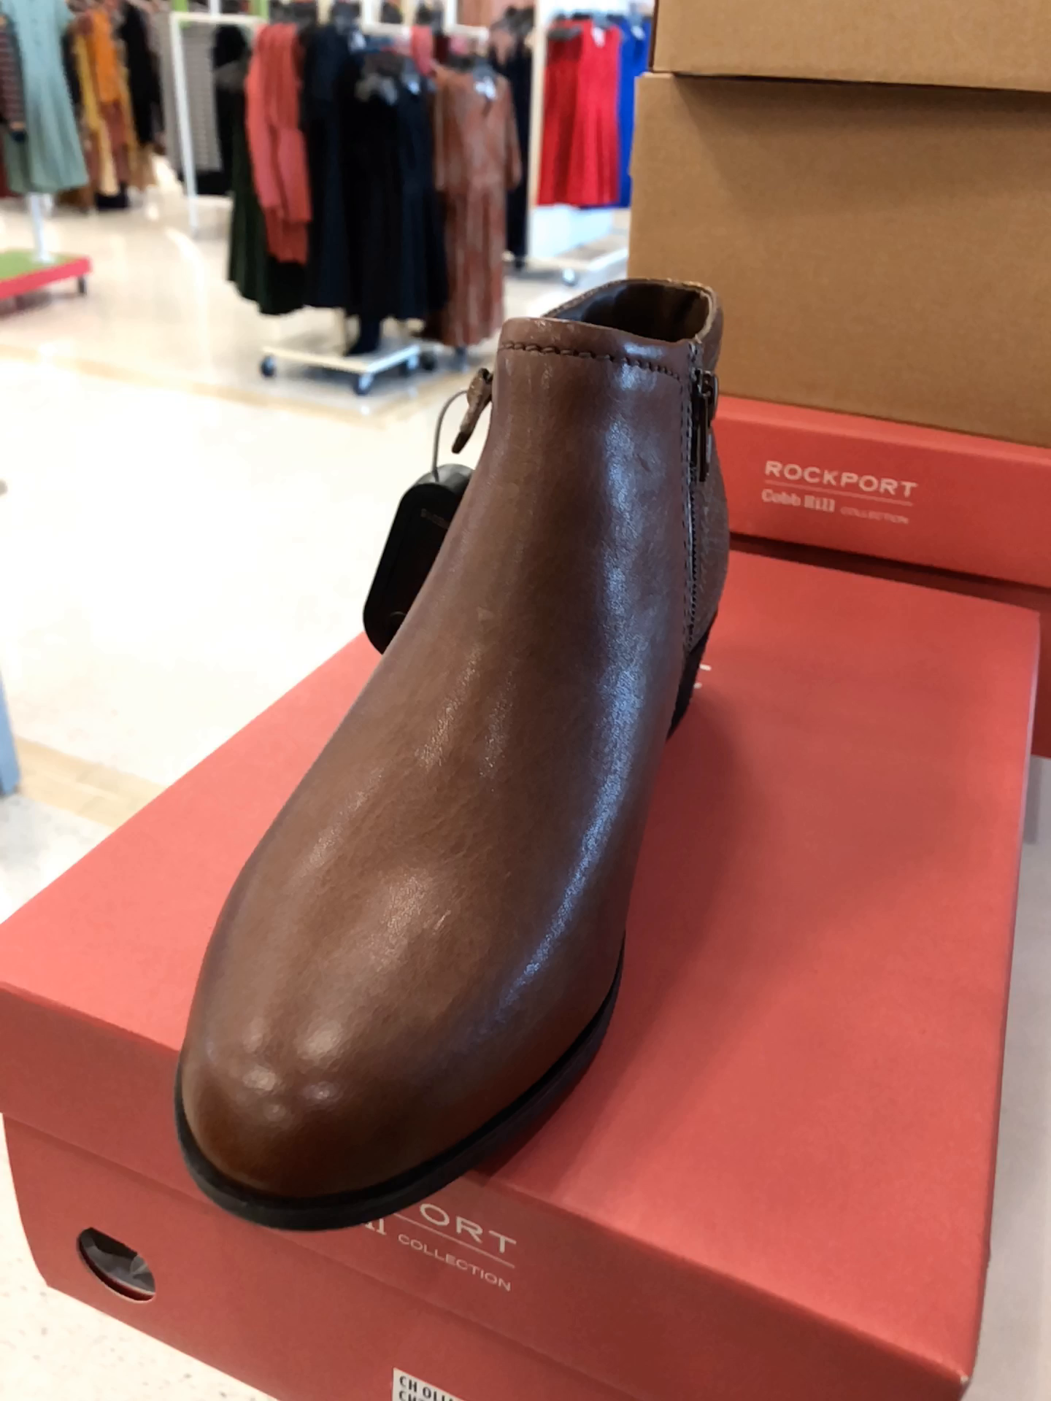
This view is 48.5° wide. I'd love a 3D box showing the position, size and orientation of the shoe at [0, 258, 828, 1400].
[{"bbox_3d":[-0.004,-0.017,0.283,0.101,0.119,0.282,12,32,15],"label":"shoe"}]
